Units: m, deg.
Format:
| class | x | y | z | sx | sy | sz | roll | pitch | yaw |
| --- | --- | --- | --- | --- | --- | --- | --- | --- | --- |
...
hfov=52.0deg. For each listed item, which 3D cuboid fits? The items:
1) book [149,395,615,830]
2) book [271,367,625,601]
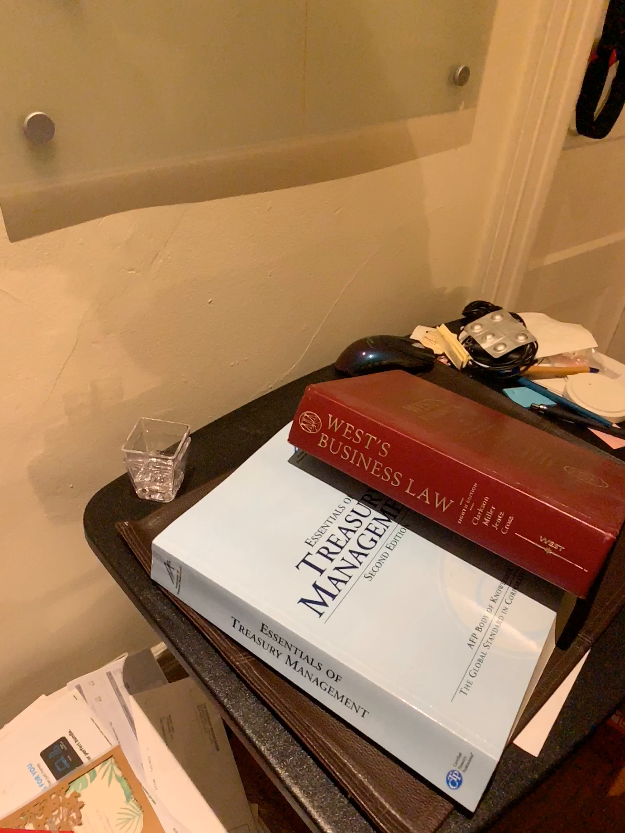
| class | x | y | z | sx | sy | sz | roll | pitch | yaw |
| --- | --- | --- | --- | --- | --- | --- | --- | --- | --- |
| book | 0.054 | 0.114 | 0.494 | 0.271 | 0.070 | 0.221 | 27 | 43 | 25 |
| book | 0.135 | 0.033 | 0.564 | 0.271 | 0.050 | 0.210 | 26 | 18 | 25 |
